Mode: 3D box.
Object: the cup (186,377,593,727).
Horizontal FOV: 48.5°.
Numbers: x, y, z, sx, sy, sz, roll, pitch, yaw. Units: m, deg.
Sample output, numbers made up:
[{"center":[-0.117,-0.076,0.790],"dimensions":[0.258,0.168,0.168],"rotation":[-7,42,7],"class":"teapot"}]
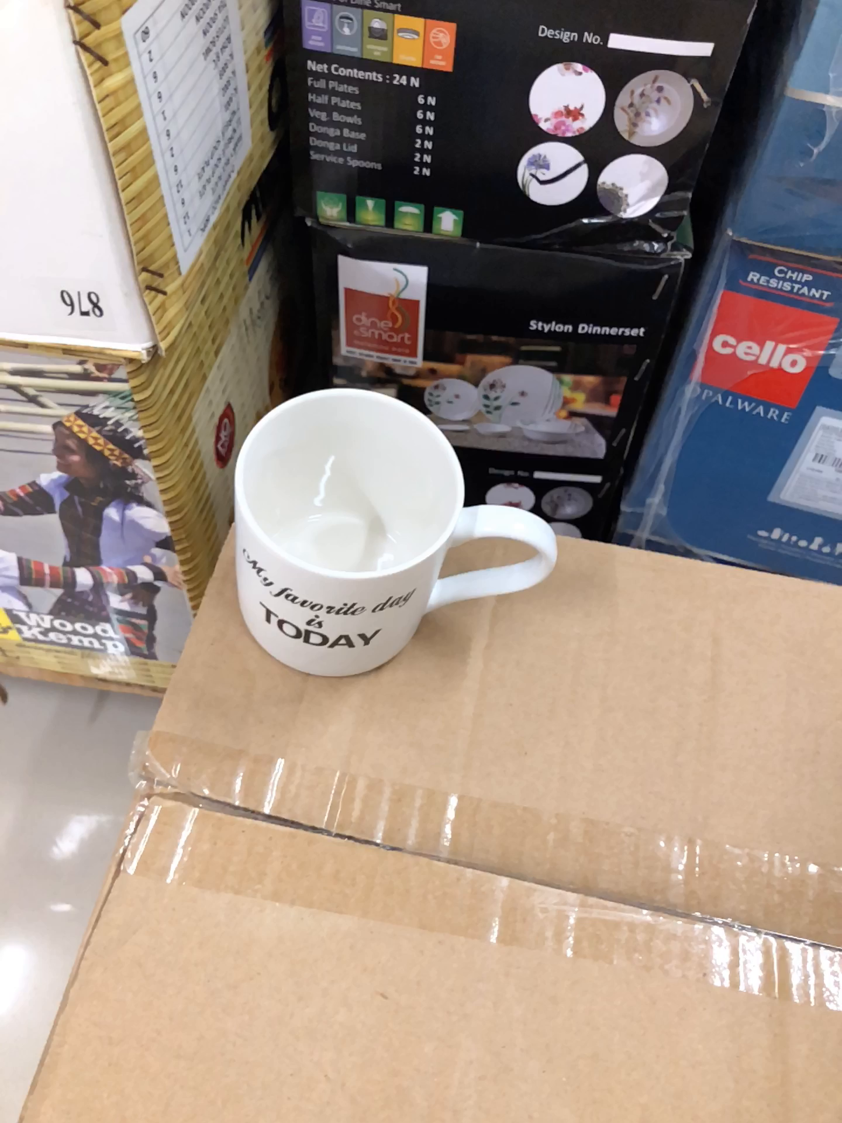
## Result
[{"center":[-0.014,0.002,0.359],"dimensions":[0.130,0.099,0.080],"rotation":[7,60,-7],"class":"cup"}]
